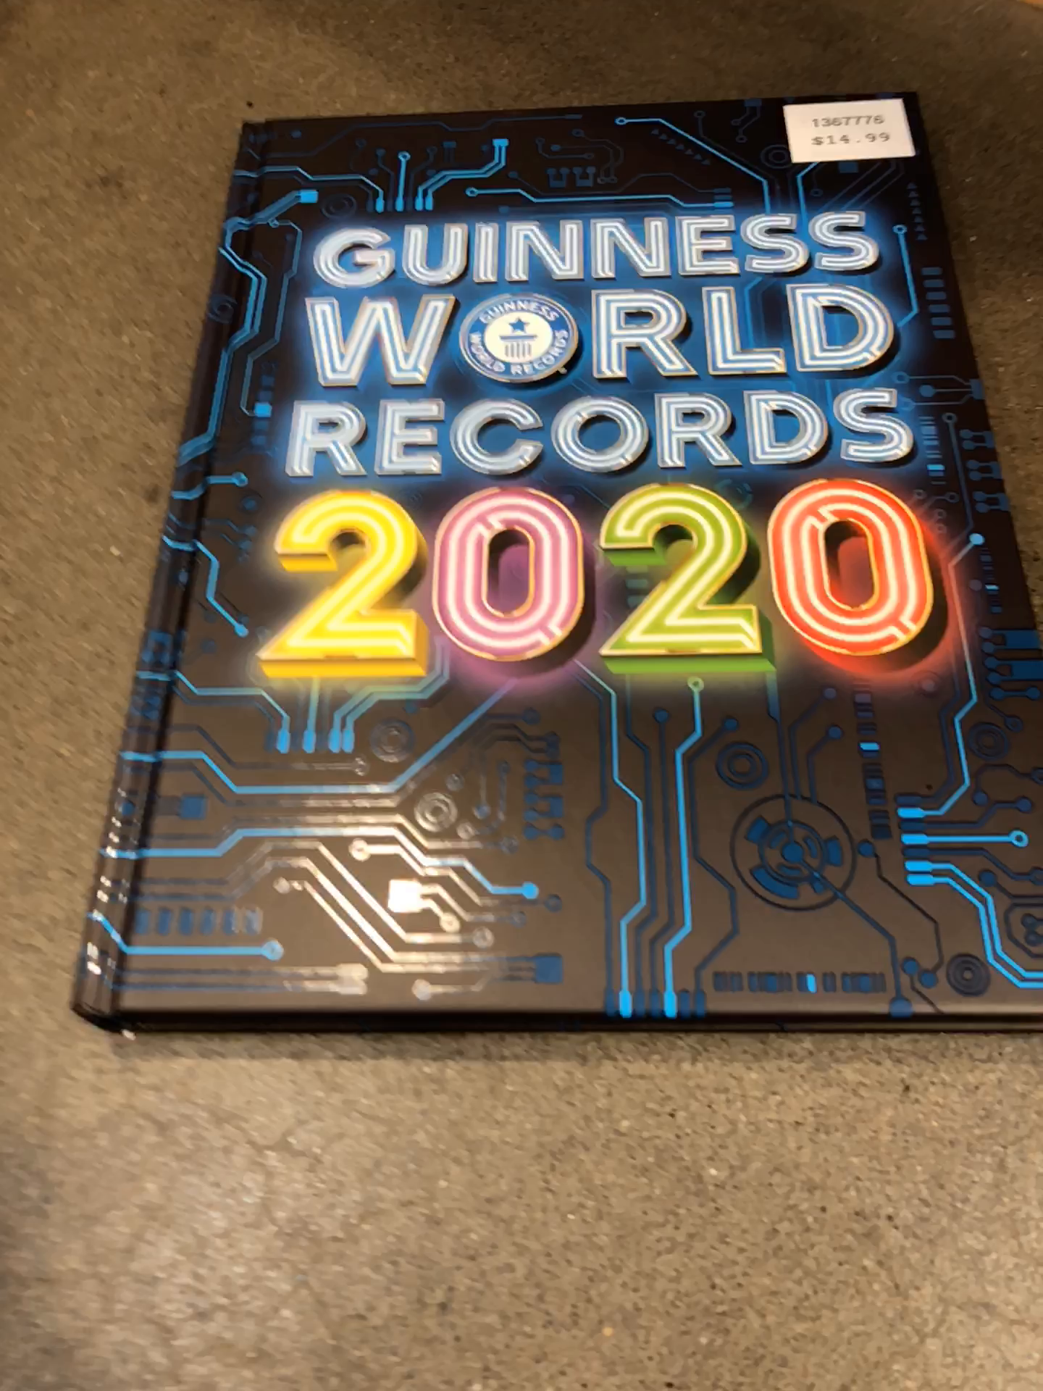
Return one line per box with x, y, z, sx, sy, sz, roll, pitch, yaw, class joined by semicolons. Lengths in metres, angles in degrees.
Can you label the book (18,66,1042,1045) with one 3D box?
0.014;-0.063;0.331;0.240;0.030;0.312;-1;62;3;book
